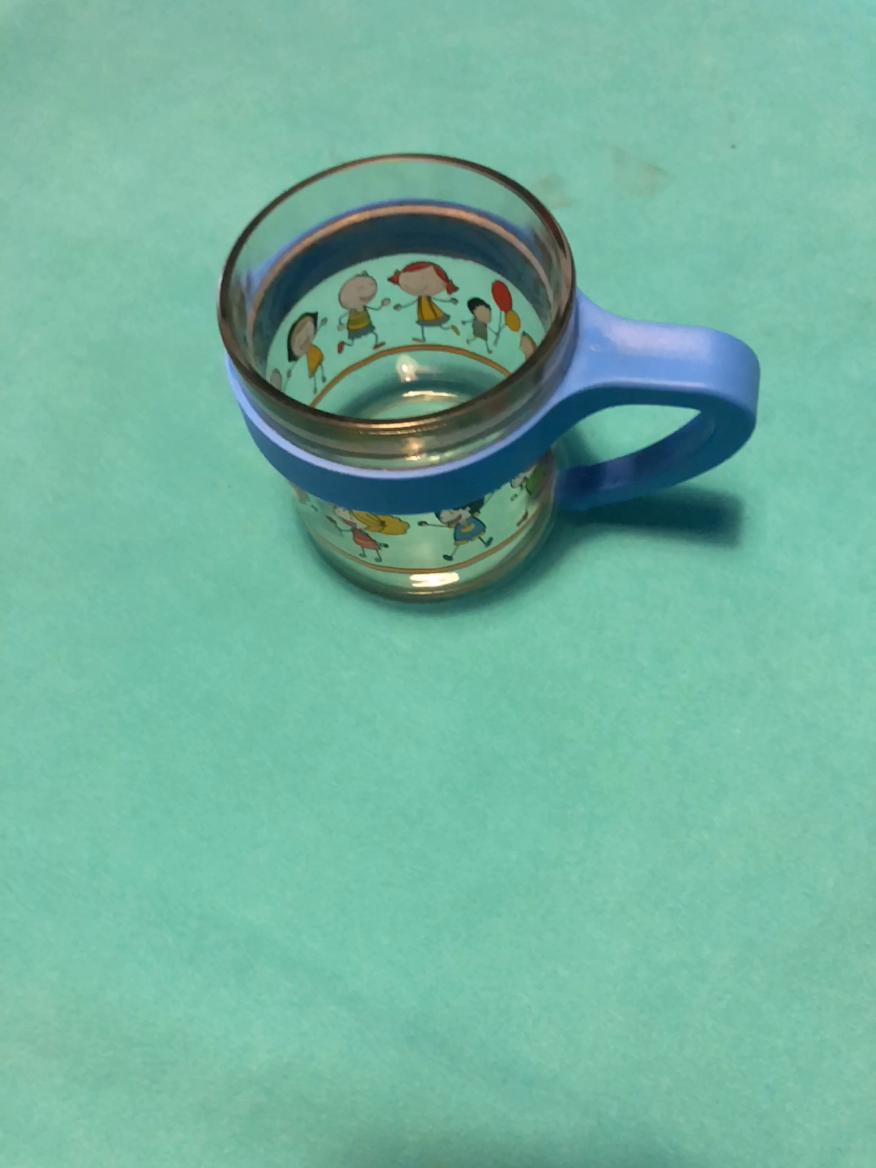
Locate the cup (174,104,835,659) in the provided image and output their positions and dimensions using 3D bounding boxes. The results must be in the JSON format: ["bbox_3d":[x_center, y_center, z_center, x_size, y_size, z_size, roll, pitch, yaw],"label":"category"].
[{"bbox_3d":[0.021,-0.049,0.254,0.130,0.090,0.090,9,65,9],"label":"cup"}]
